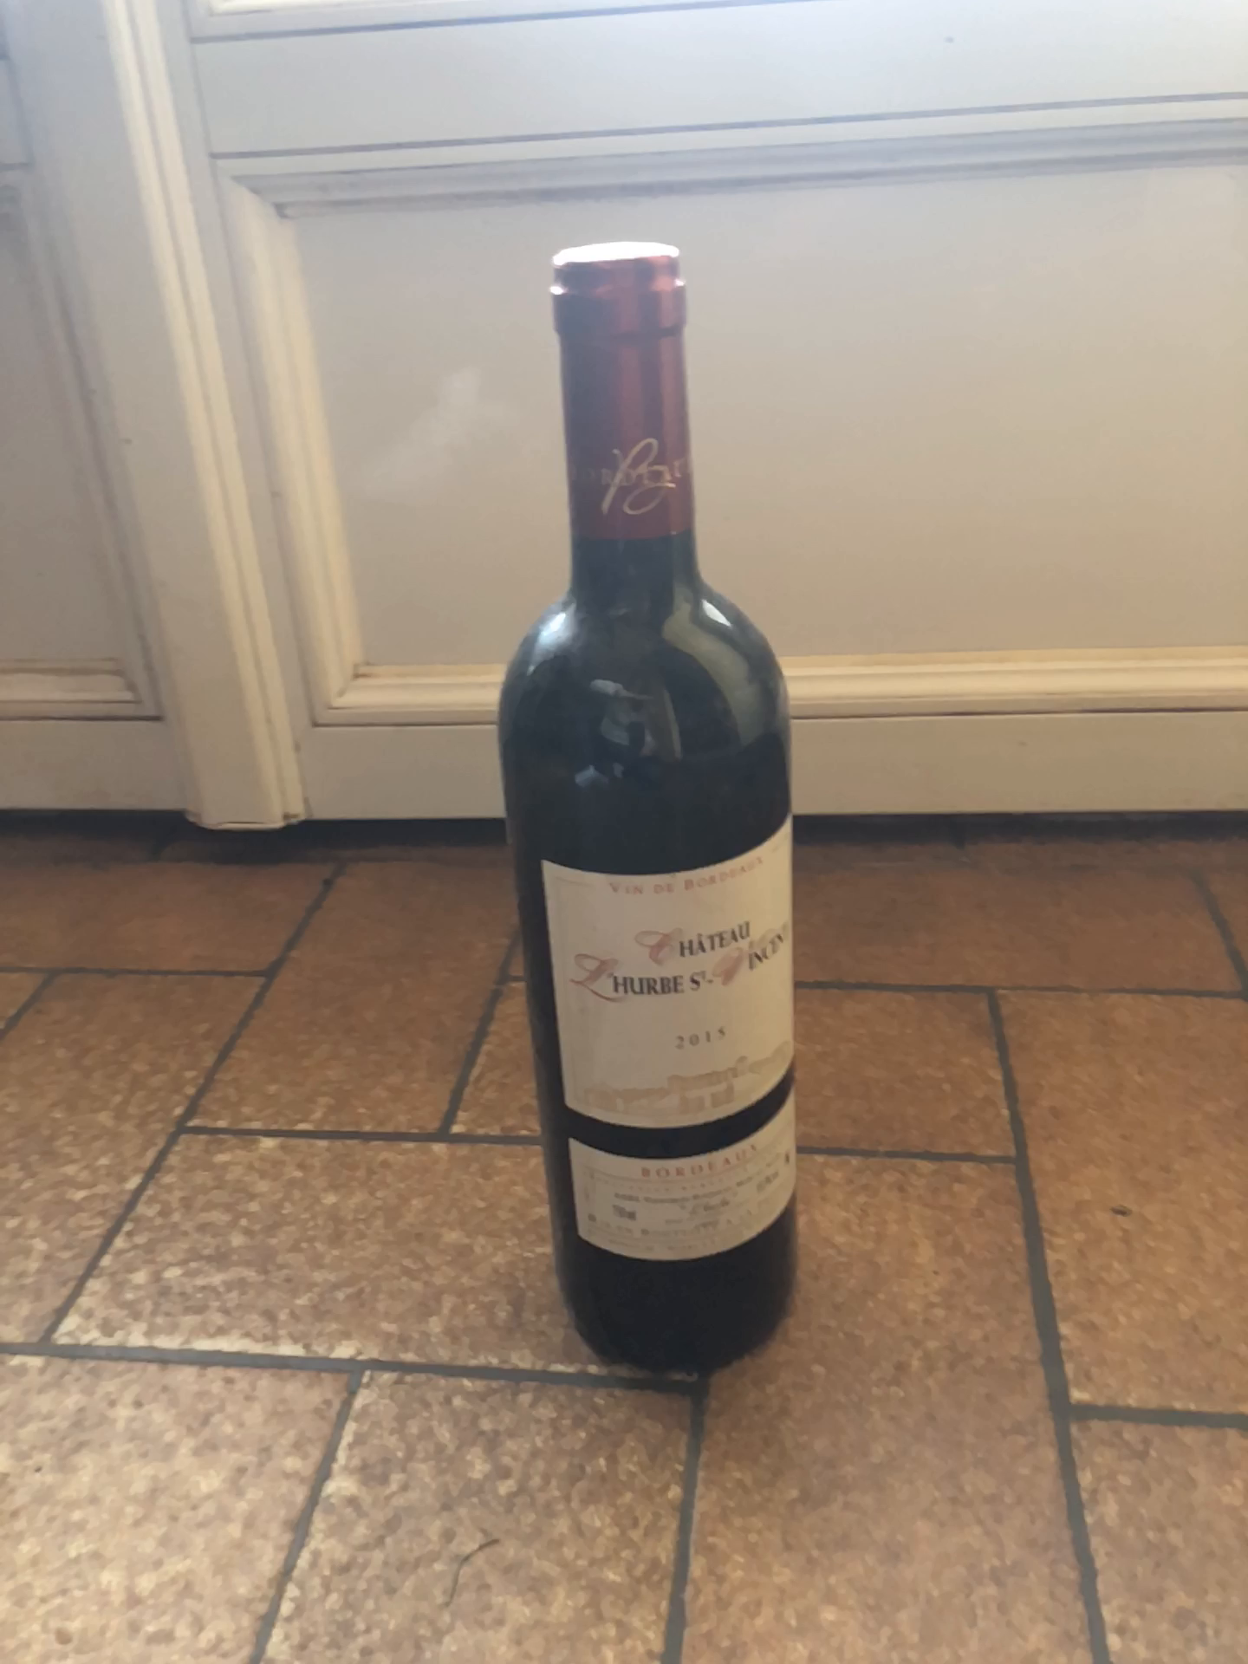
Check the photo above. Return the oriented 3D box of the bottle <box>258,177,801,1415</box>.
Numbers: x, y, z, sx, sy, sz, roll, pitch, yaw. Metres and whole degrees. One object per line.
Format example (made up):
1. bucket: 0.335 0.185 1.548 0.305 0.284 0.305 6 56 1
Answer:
1. bottle: -0.016 -0.002 0.348 0.090 0.288 0.090 -3 27 2
